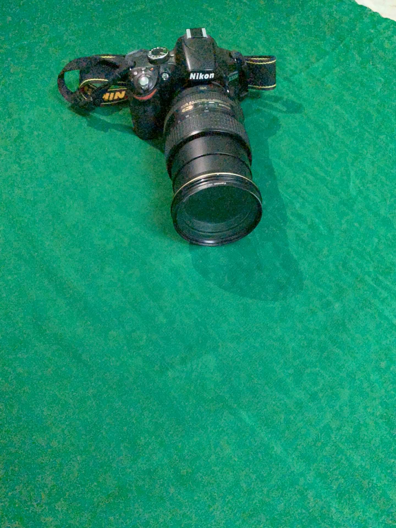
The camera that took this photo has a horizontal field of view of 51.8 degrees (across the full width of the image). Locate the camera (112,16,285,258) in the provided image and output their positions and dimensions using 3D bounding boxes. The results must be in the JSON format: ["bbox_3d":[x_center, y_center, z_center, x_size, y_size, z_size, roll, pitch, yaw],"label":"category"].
[{"bbox_3d":[-0.012,-0.134,0.397,0.122,0.088,0.235,-6,57,-5],"label":"camera"}]
